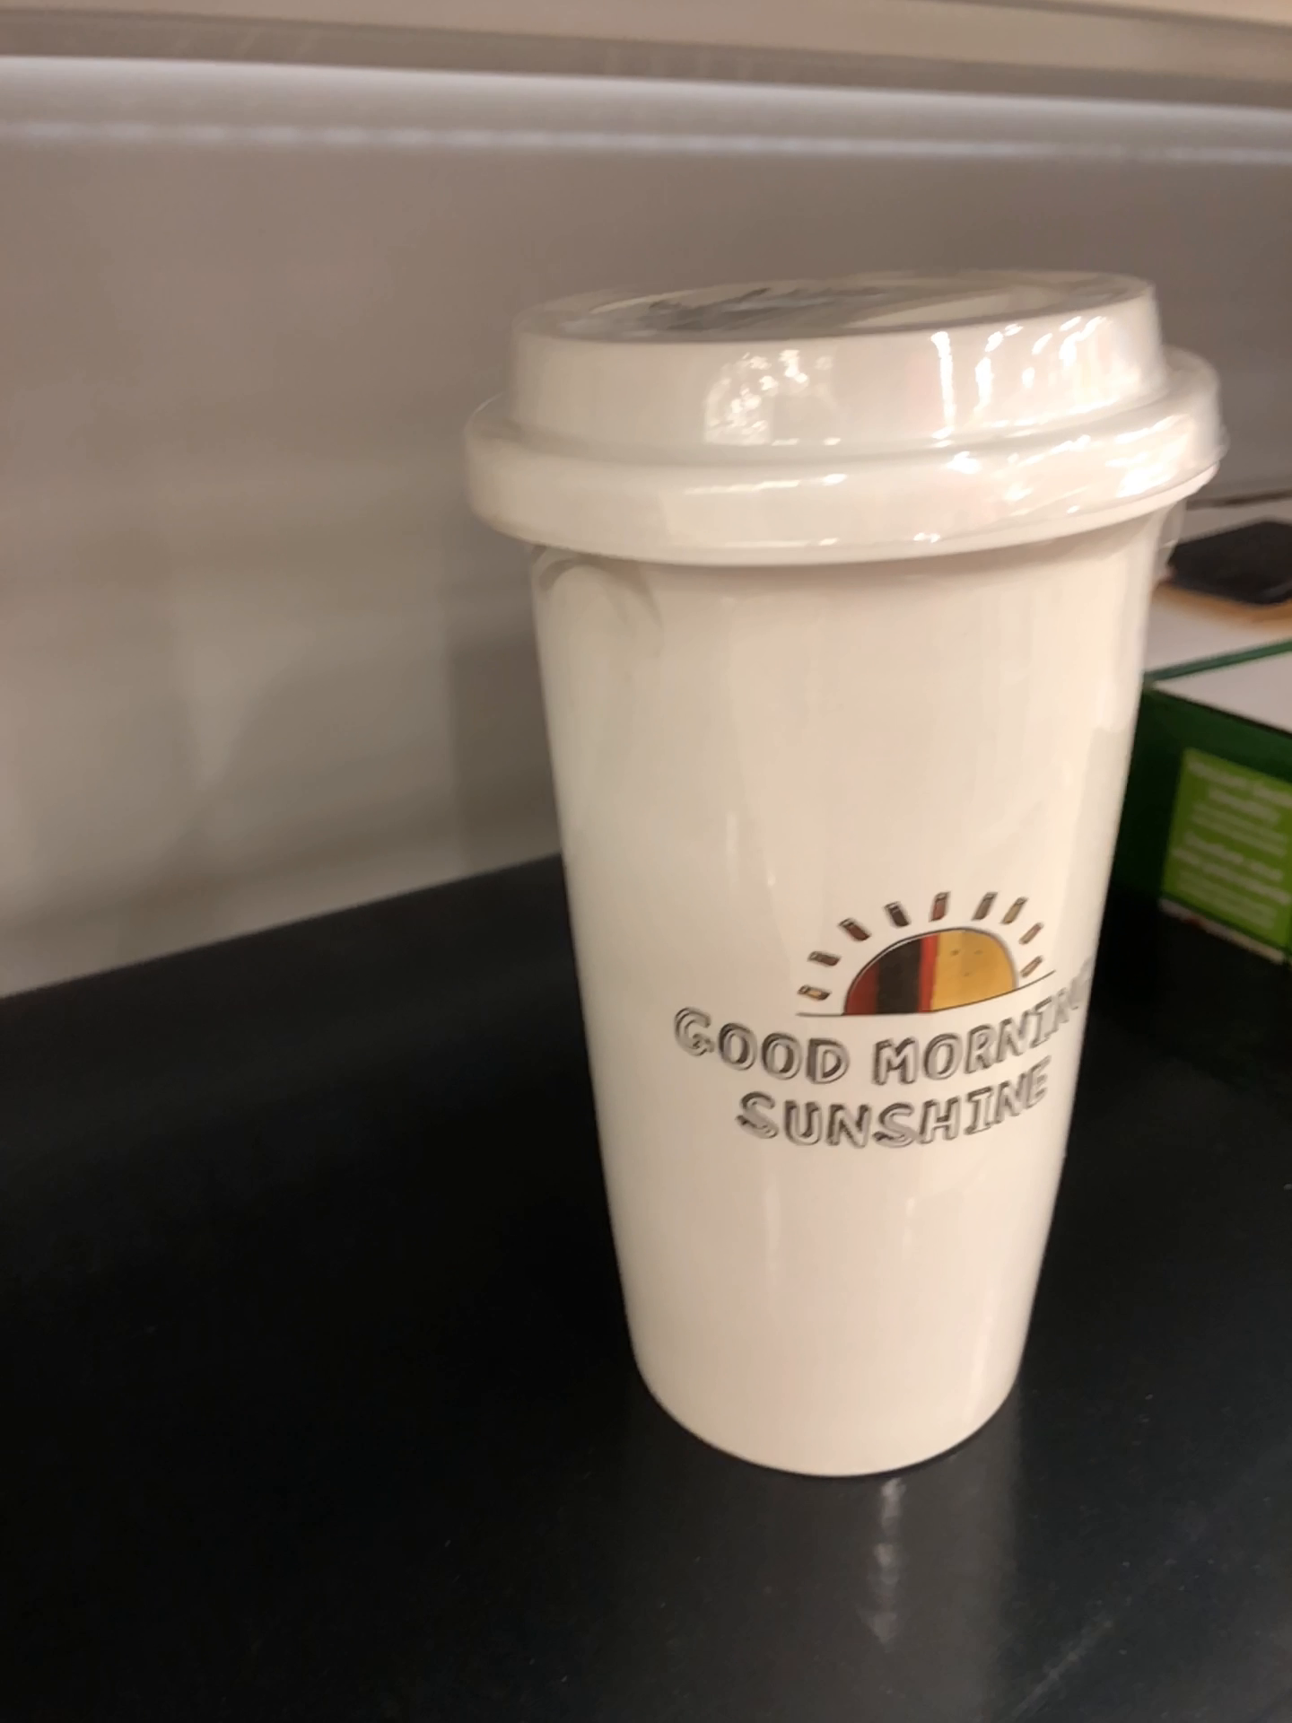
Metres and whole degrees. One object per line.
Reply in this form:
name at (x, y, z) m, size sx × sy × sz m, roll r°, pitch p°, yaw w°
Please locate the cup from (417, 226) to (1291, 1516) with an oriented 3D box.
cup at (0.035, -0.008, 0.210) m, size 0.100 × 0.149 × 0.100 m, roll 0°, pitch 25°, yaw 0°
